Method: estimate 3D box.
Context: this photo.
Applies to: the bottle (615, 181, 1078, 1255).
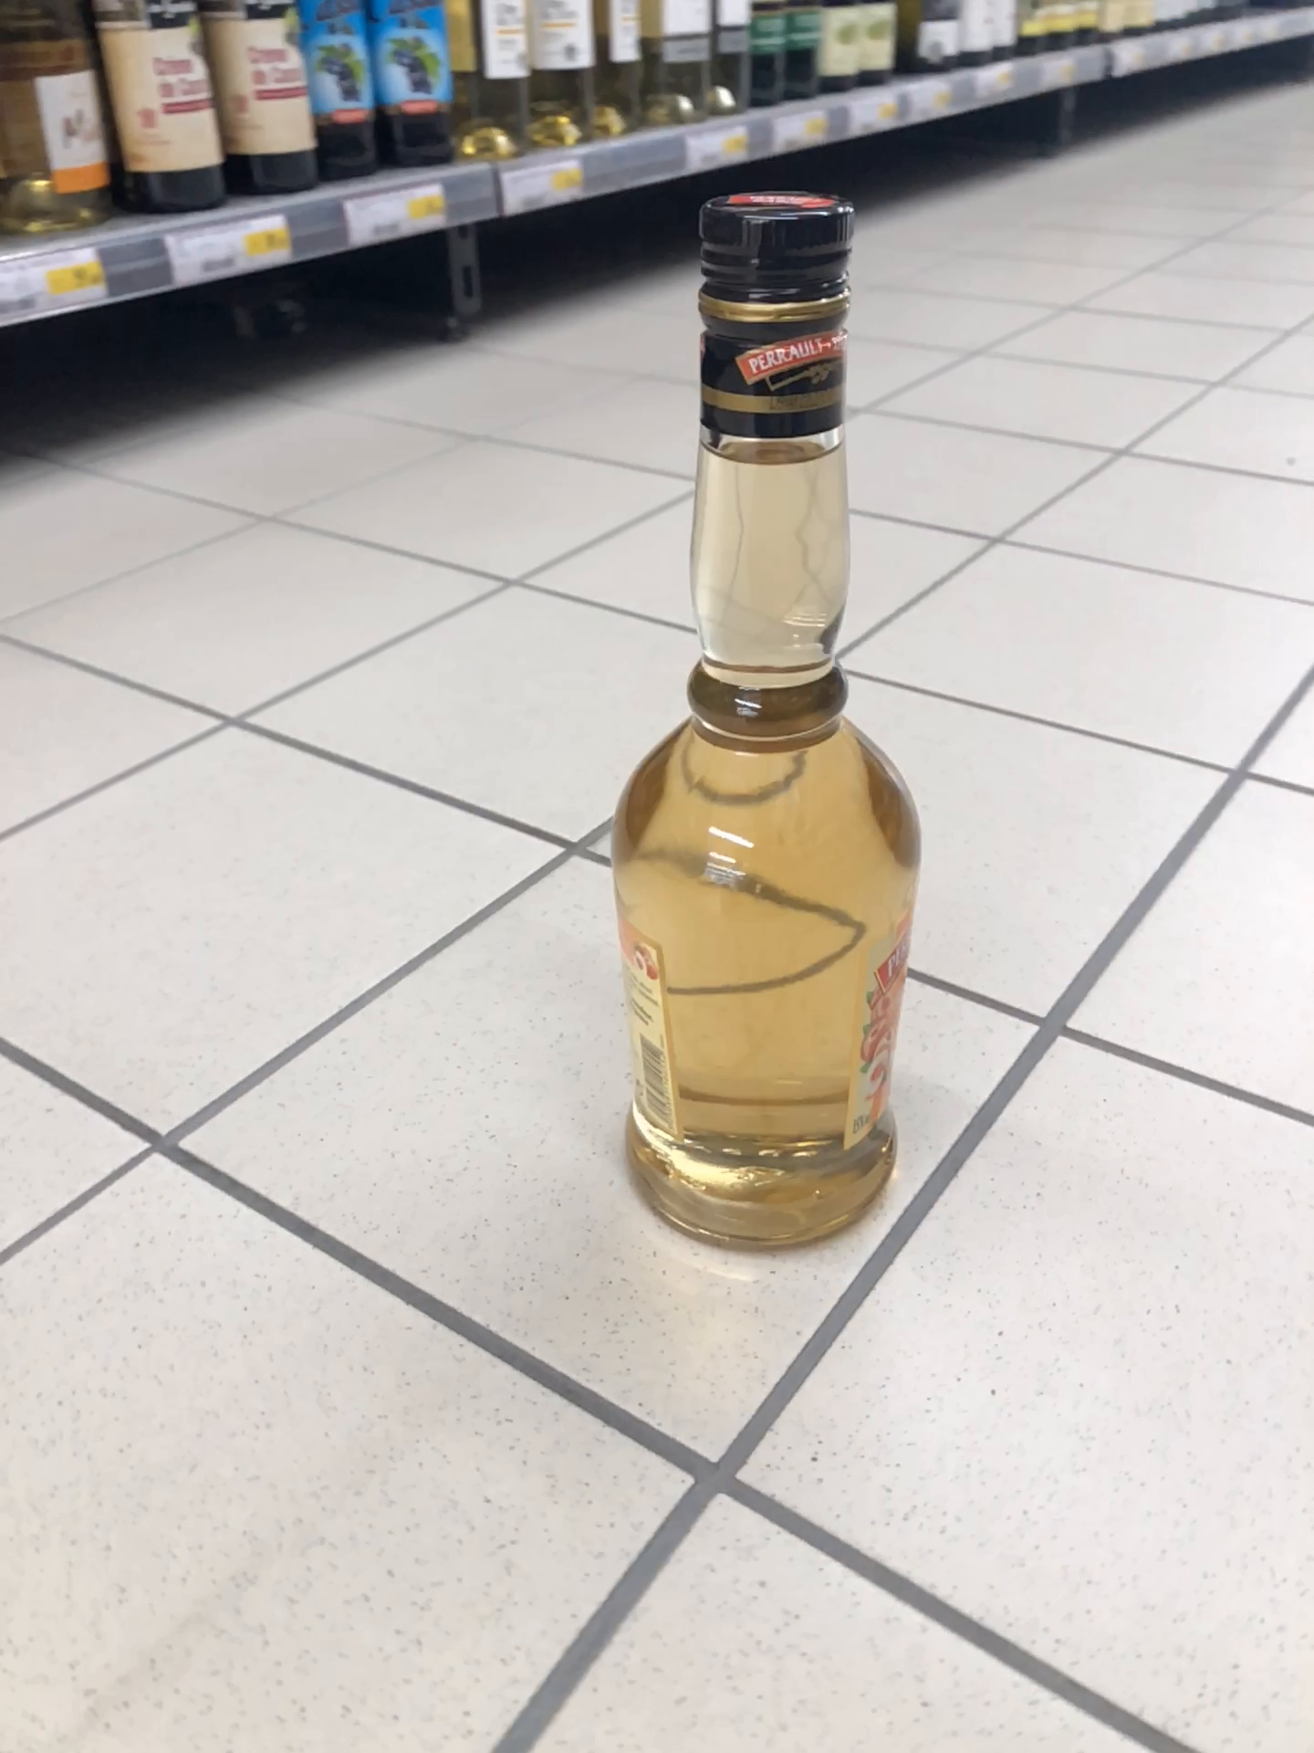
[{"bbox_3d":[0.036,-0.029,0.358,0.080,0.249,0.080,-1,31,1],"label":"bottle"}]
